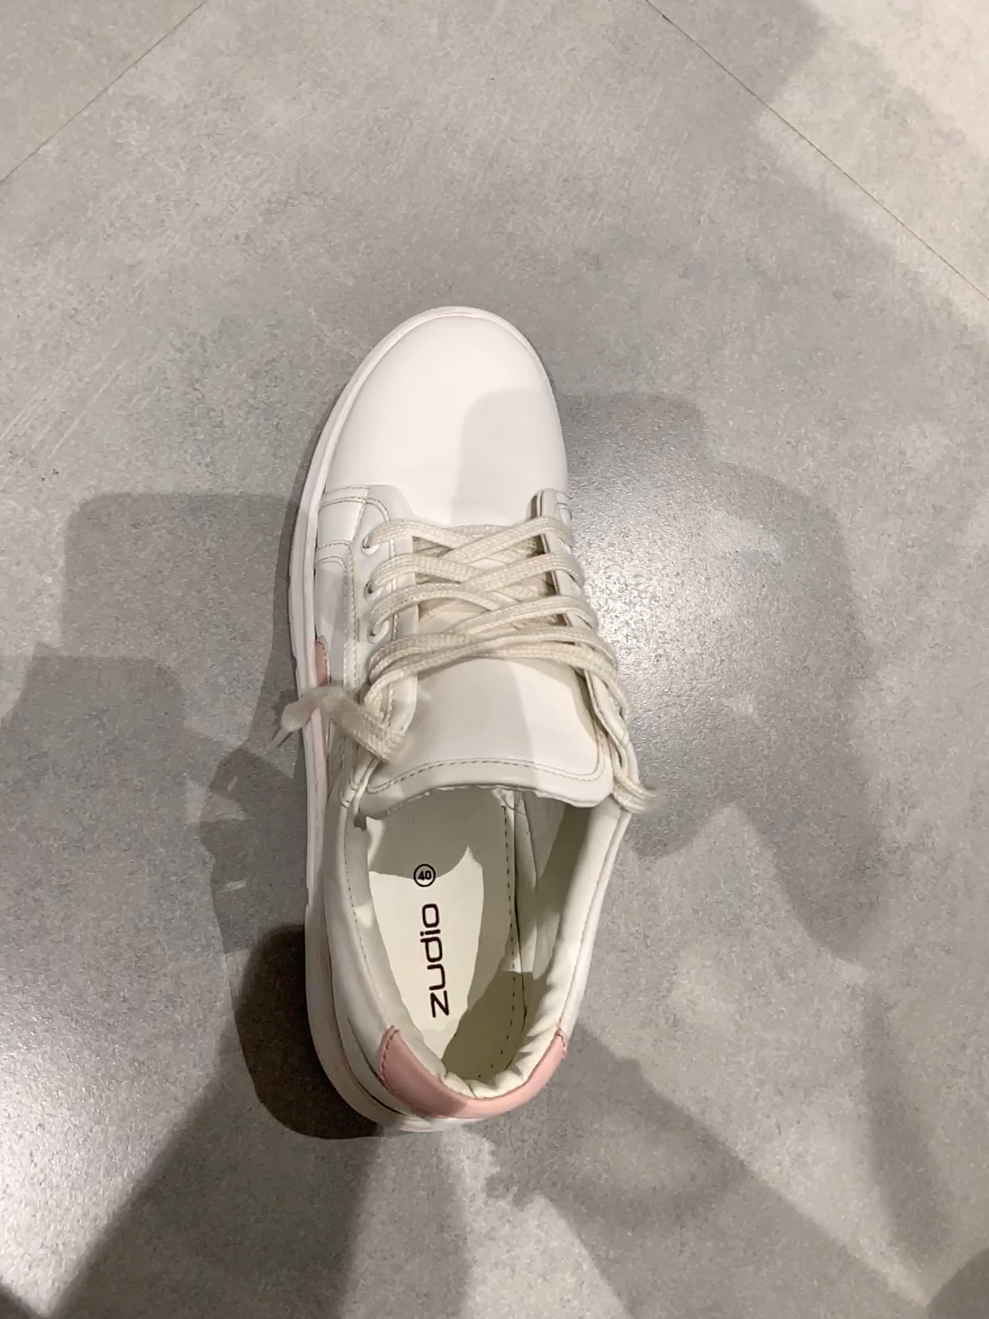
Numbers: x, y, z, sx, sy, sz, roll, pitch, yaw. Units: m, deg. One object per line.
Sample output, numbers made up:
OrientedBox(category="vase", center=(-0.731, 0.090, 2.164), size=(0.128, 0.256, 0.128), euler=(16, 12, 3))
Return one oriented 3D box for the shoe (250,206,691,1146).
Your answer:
OrientedBox(category="shoe", center=(-0.015, 0.005, 0.324), size=(0.110, 0.100, 0.250), euler=(2, 77, -12))
